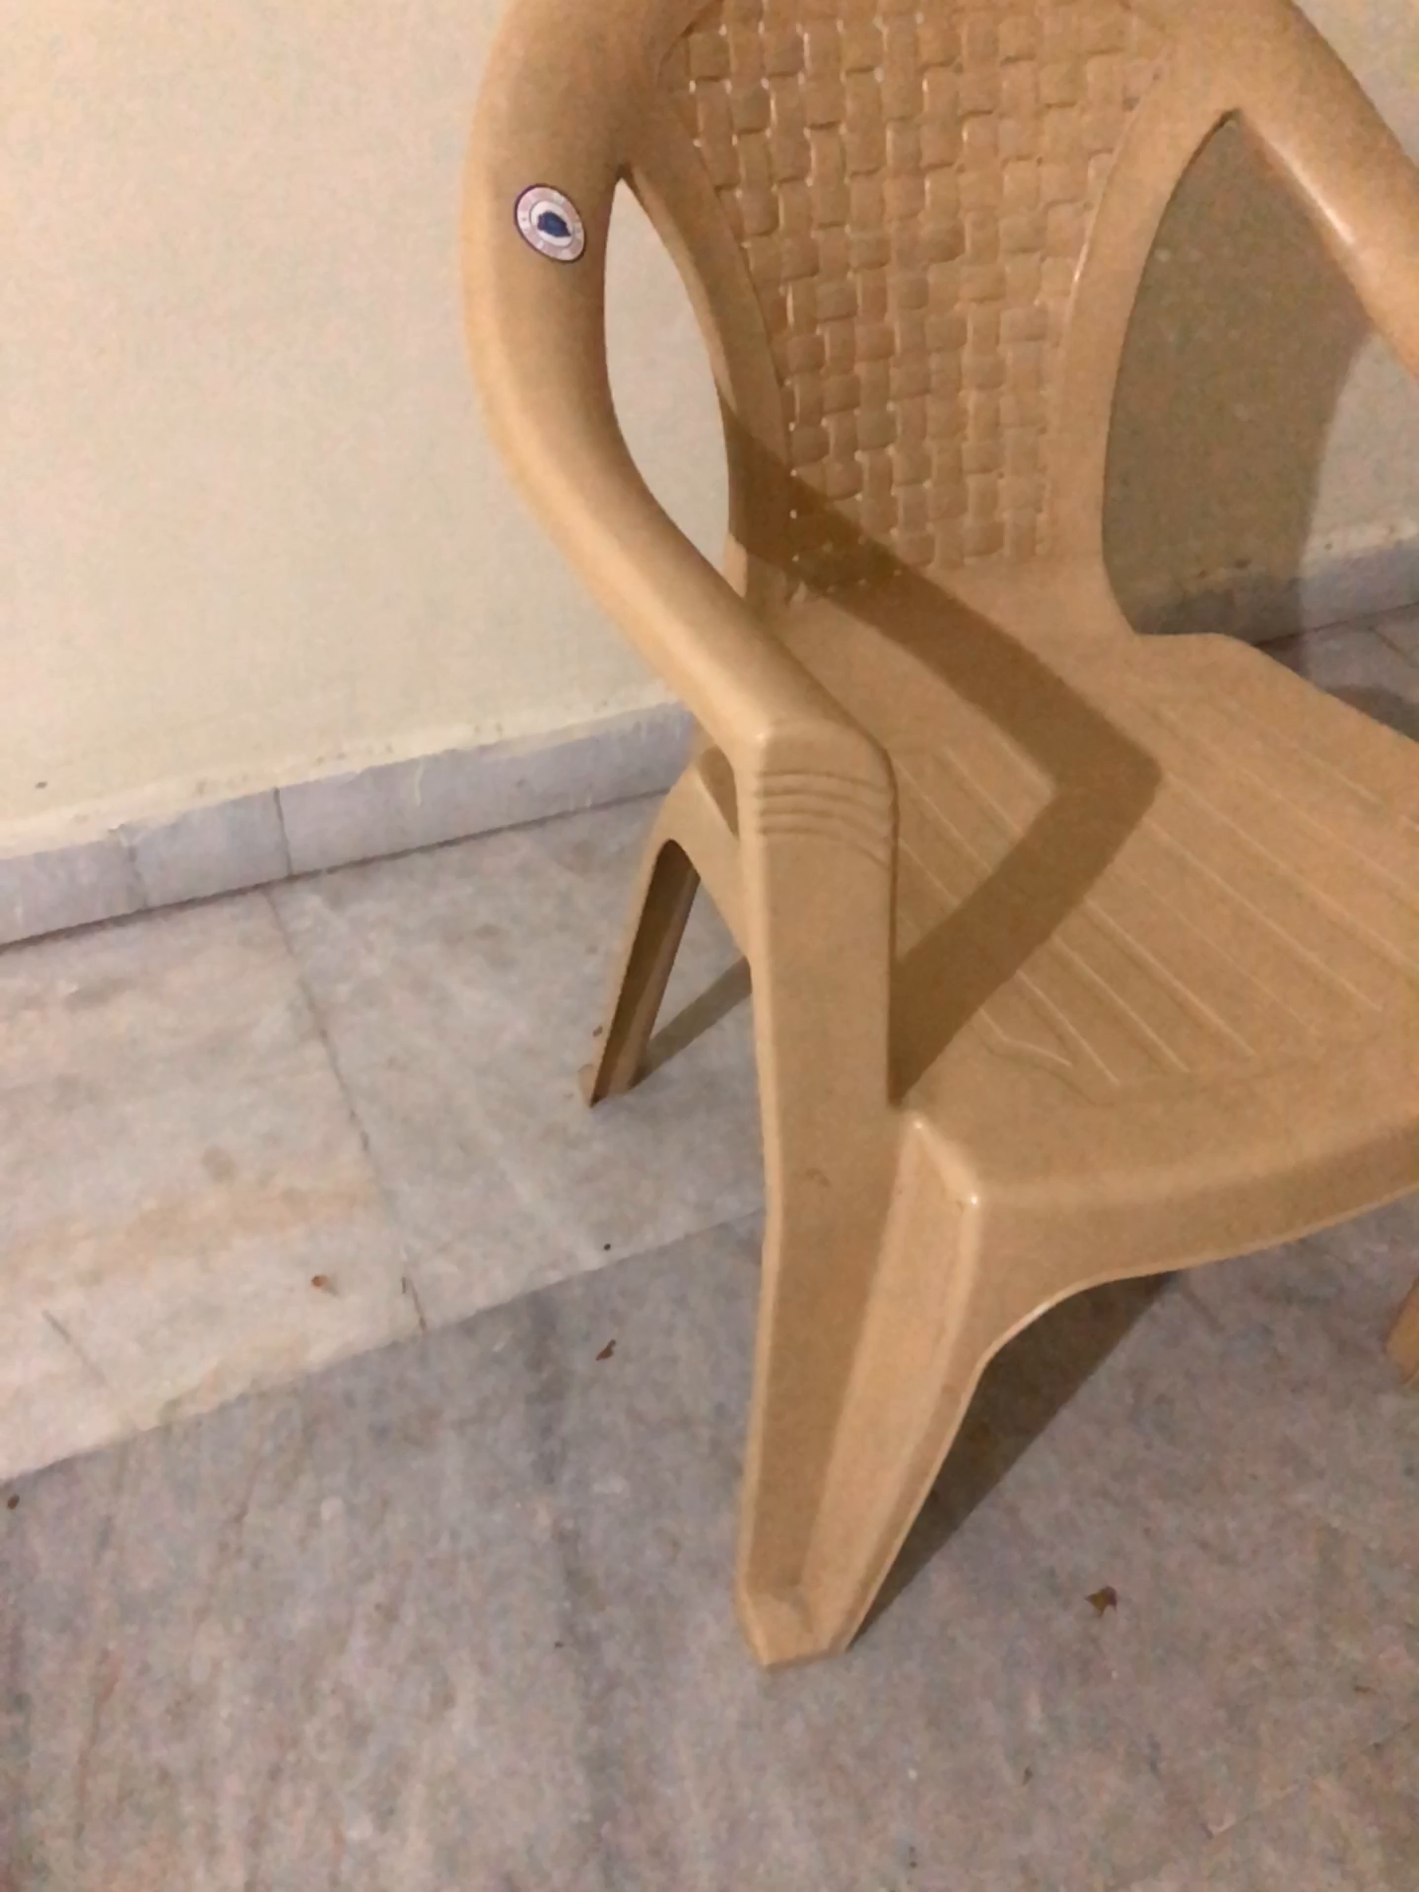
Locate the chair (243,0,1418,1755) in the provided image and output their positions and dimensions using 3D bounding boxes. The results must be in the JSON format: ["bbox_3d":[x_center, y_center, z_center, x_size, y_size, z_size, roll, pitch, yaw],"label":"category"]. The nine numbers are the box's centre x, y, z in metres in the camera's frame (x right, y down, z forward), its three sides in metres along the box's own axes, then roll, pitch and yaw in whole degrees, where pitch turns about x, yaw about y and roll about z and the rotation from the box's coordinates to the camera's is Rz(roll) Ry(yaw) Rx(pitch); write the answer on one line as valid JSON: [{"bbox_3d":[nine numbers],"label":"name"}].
[{"bbox_3d":[0.177,-0.124,0.832,0.592,0.745,0.602,-17,49,-21],"label":"chair"}]
